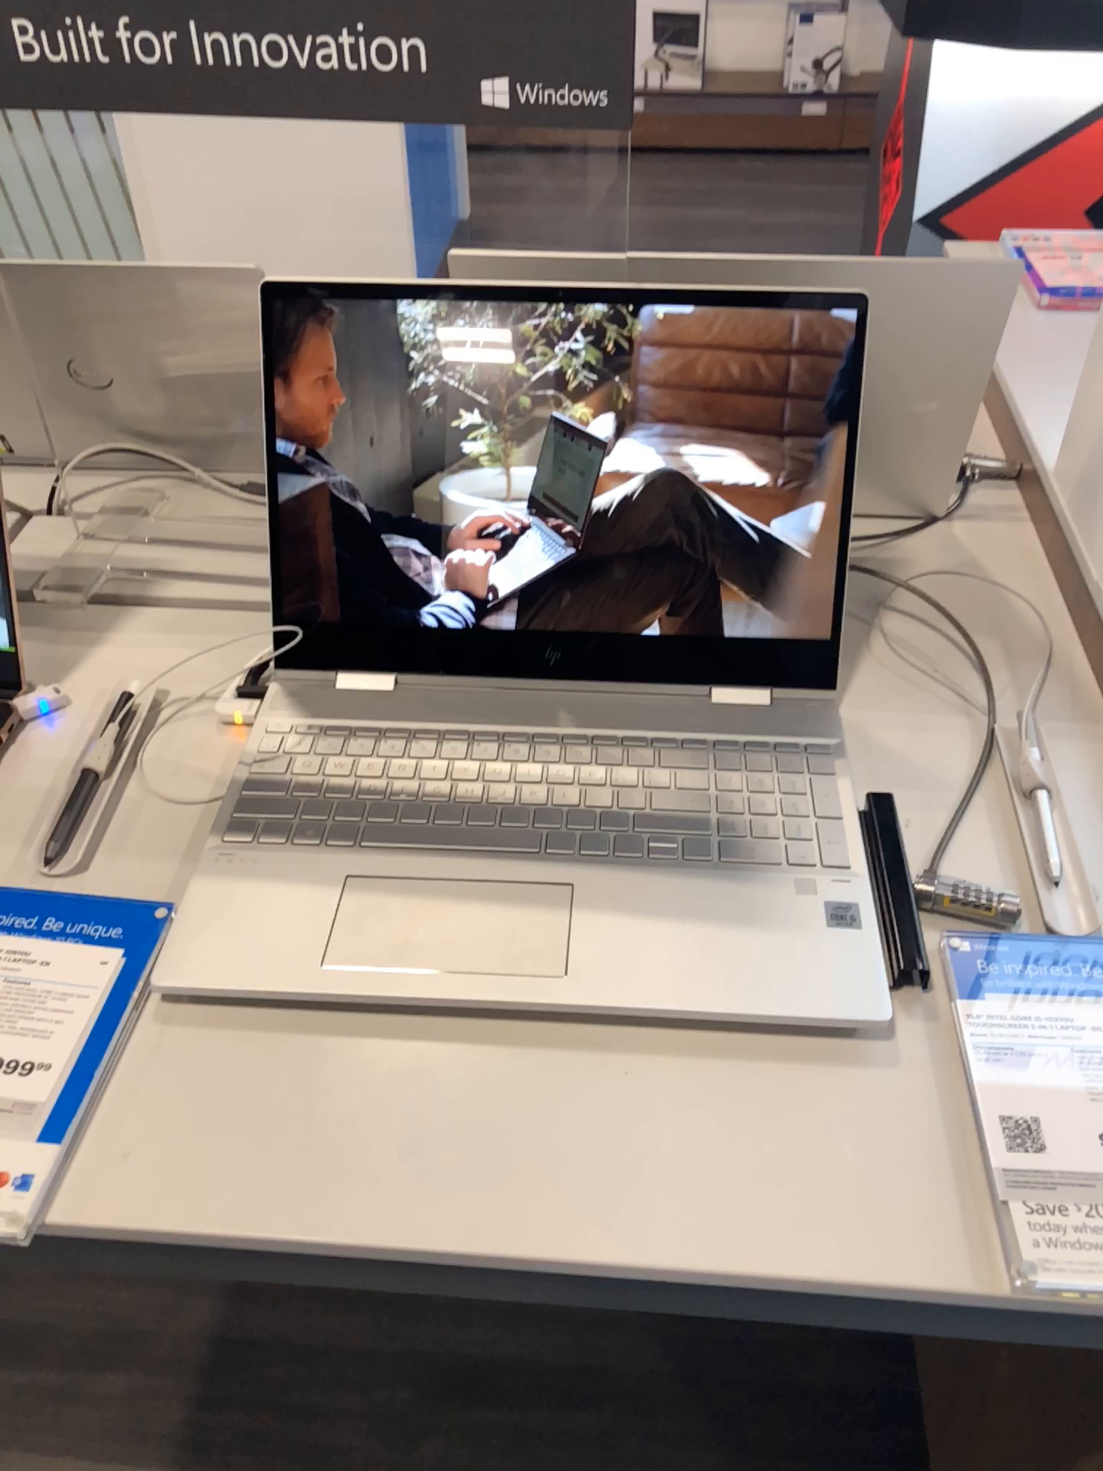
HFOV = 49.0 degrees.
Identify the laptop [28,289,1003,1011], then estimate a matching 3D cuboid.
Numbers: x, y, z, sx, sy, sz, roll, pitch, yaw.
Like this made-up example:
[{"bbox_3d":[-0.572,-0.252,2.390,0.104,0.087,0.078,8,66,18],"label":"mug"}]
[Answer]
[{"bbox_3d":[-0.003,-0.069,0.647,0.358,0.210,0.355,2,40,4],"label":"laptop"}]
